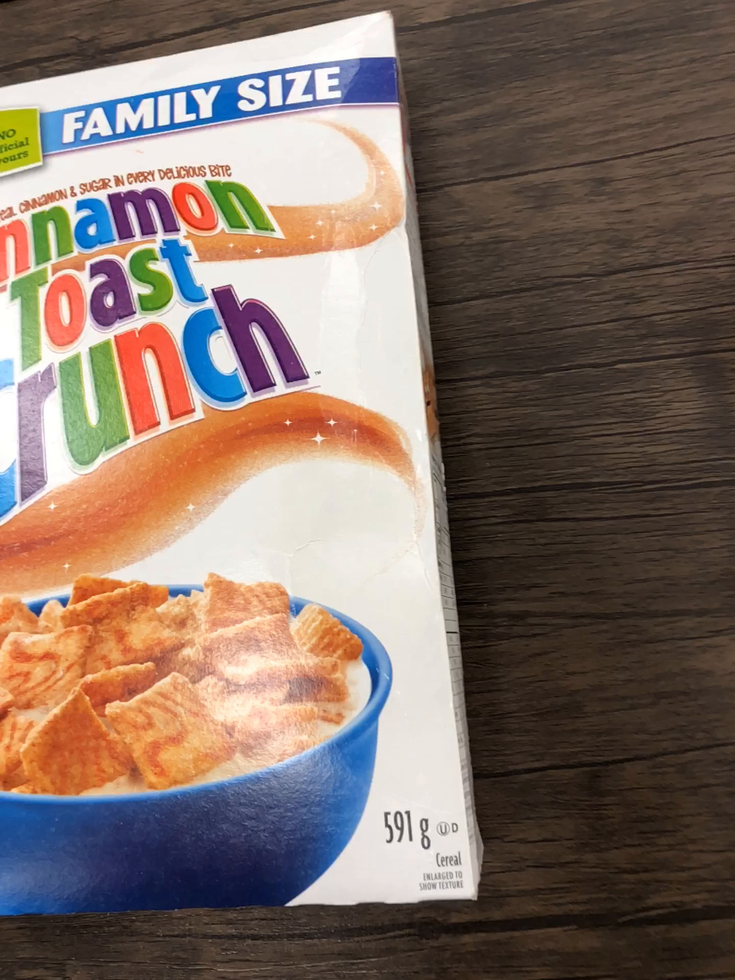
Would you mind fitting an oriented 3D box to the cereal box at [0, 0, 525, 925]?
[{"bbox_3d":[-0.083,-0.030,0.342,0.250,0.070,0.360,-6,77,7],"label":"cereal box"}]
